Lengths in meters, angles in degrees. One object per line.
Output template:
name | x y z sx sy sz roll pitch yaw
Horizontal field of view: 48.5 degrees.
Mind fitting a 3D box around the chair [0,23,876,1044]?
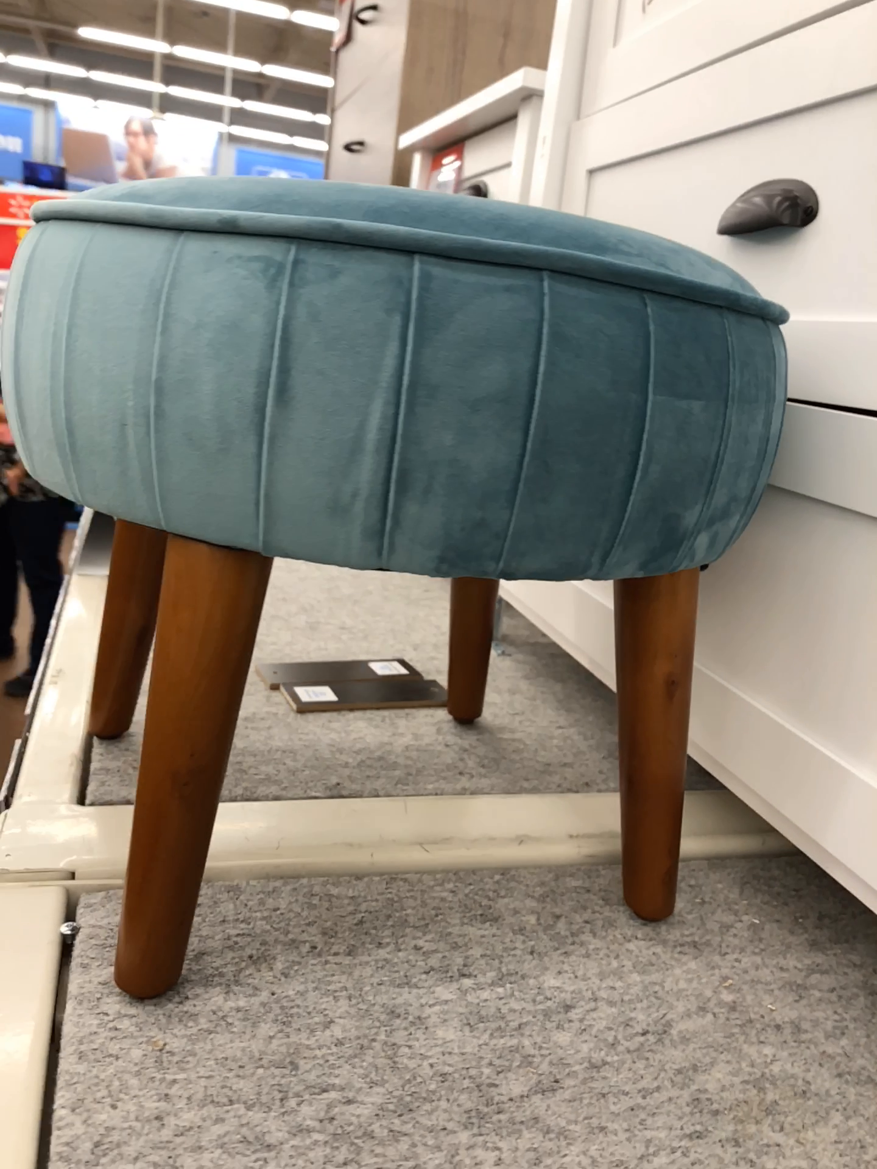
chair | -0.037 -0.034 0.595 0.370 0.399 0.371 4 14 -16
